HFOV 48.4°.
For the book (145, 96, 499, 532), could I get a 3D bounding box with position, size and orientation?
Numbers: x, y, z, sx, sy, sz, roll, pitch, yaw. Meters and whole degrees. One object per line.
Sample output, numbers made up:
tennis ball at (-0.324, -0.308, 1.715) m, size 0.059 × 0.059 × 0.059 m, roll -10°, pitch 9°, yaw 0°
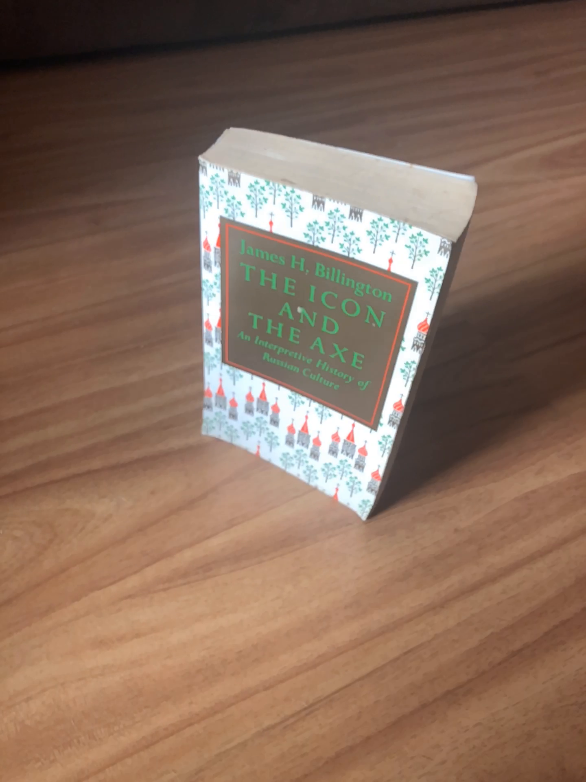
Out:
book at (0.004, -0.034, 0.363) m, size 0.150 × 0.199 × 0.060 m, roll 24°, pitch 47°, yaw 18°
